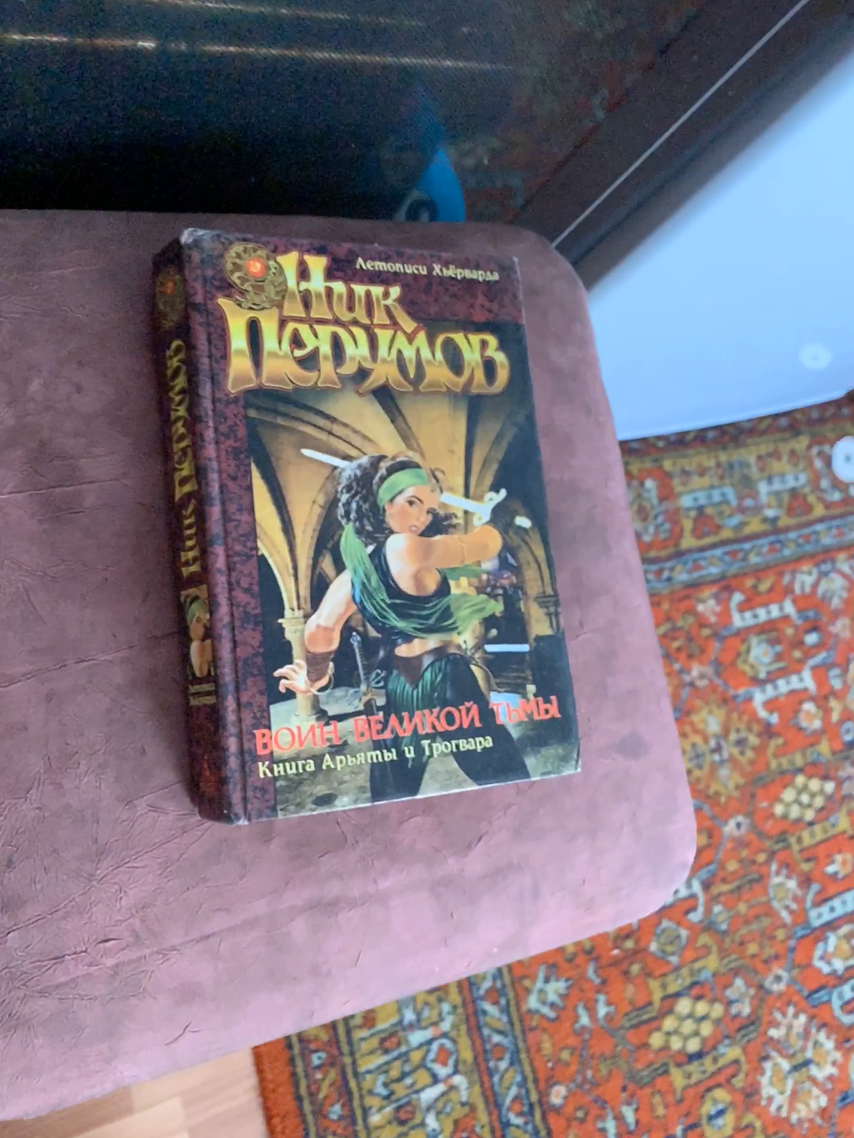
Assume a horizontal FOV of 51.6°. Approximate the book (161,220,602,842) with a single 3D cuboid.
[{"bbox_3d":[-0.018,-0.018,0.330,0.139,0.037,0.205,-3,81,-24],"label":"book"}]
